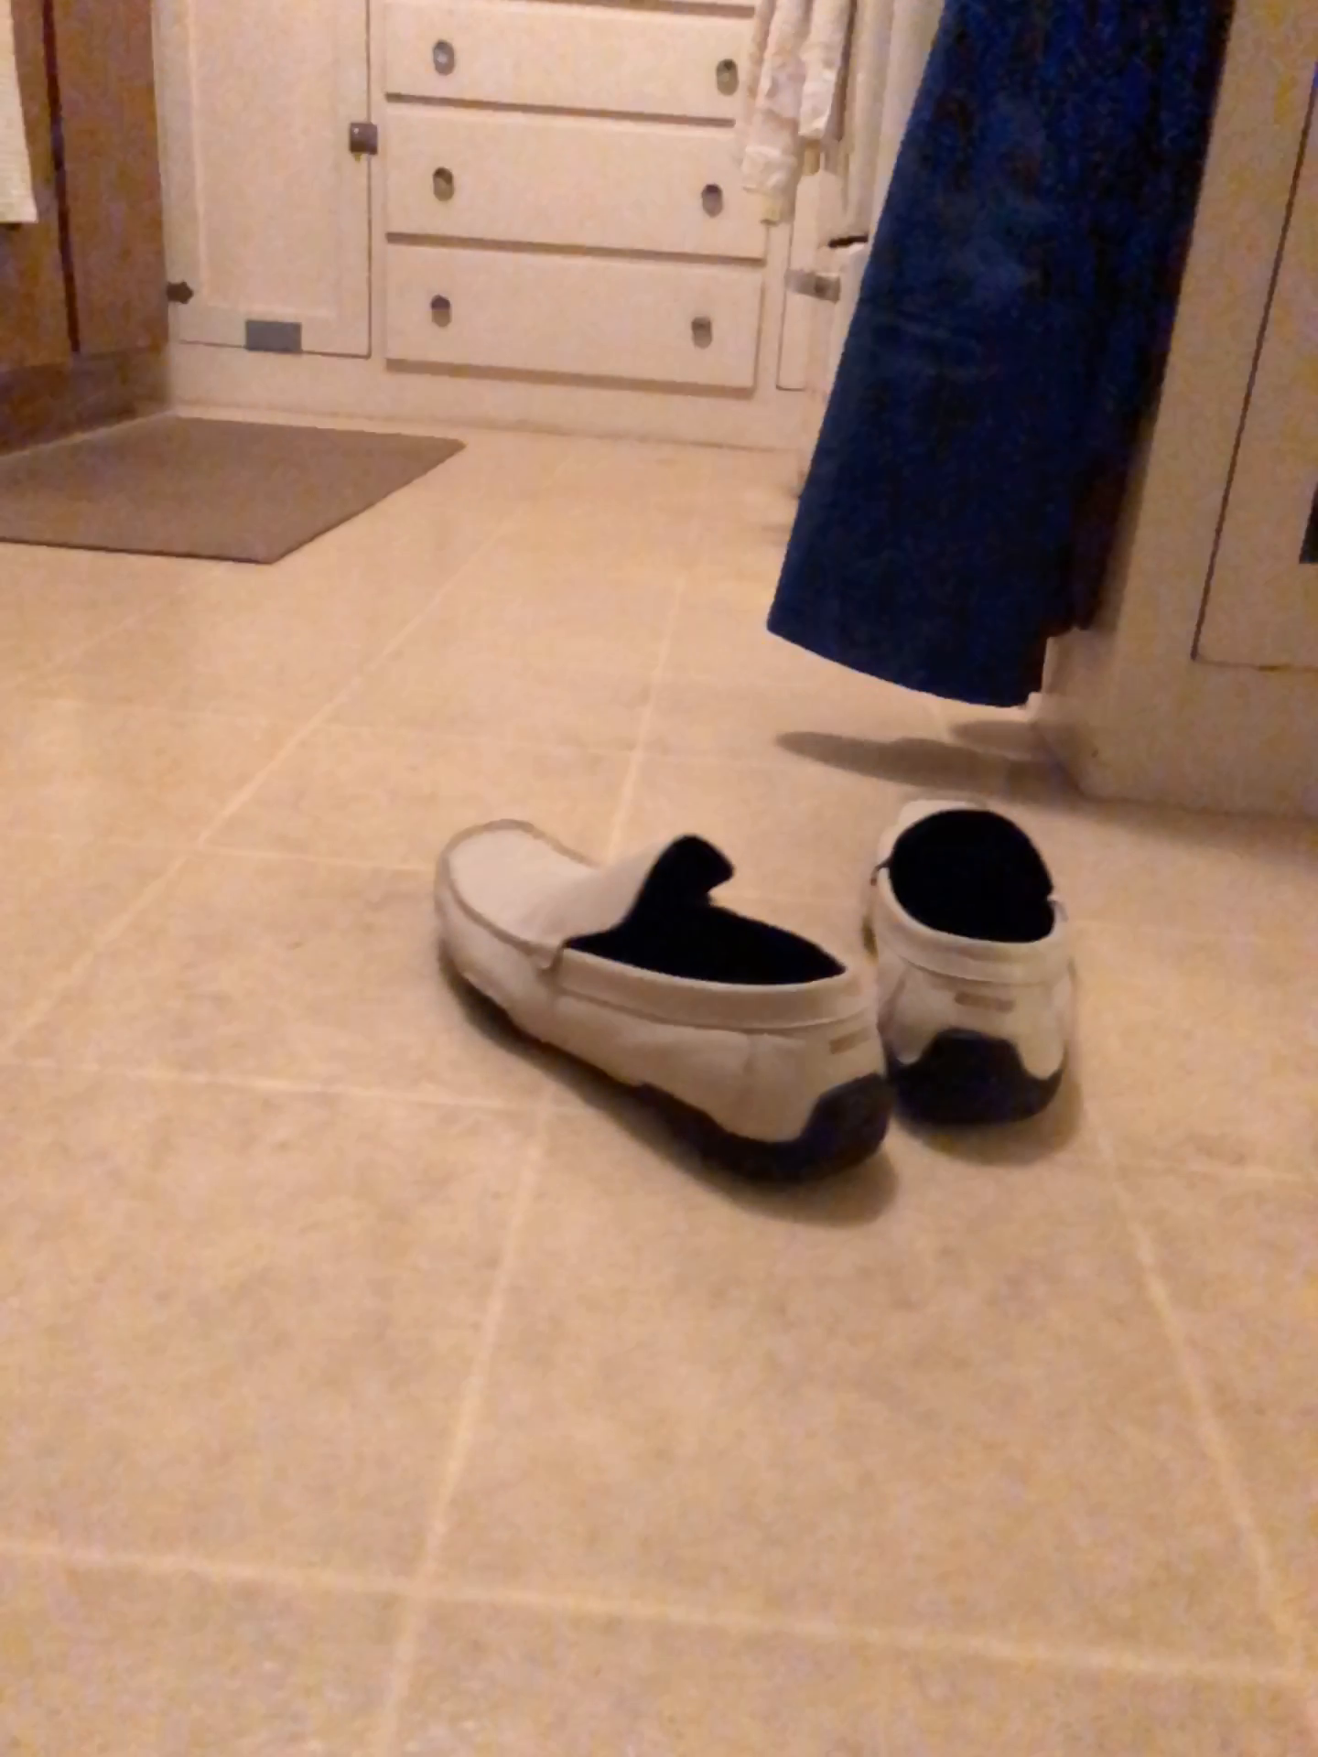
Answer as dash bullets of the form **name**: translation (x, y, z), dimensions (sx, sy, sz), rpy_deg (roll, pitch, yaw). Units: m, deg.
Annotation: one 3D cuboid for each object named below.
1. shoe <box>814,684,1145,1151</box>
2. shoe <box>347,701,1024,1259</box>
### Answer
- **shoe**: translation (0.147, -0.001, 0.684), dimensions (0.110, 0.097, 0.291), rpy_deg (8, 24, 9)
- **shoe**: translation (-0.010, 0.019, 0.612), dimensions (0.111, 0.097, 0.307), rpy_deg (-14, 29, -36)
